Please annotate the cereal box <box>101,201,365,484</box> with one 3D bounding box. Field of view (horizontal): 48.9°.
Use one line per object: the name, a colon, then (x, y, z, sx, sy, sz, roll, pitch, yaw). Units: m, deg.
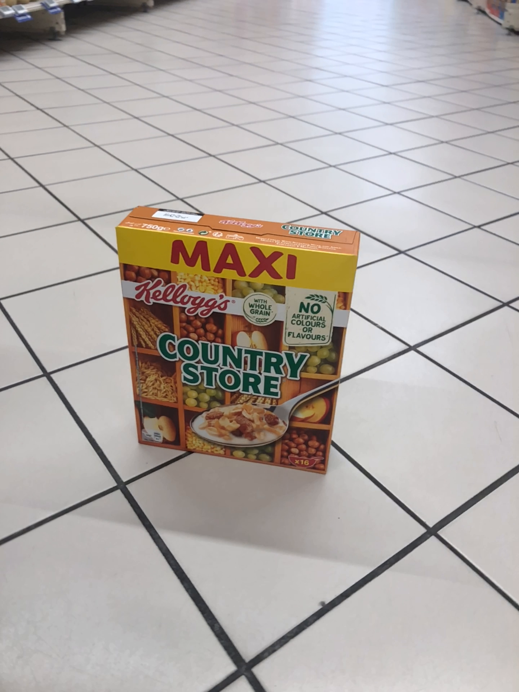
cereal box: (-0.022, 0.004, 0.518, 0.200, 0.239, 0.060, 8, 35, 7)
